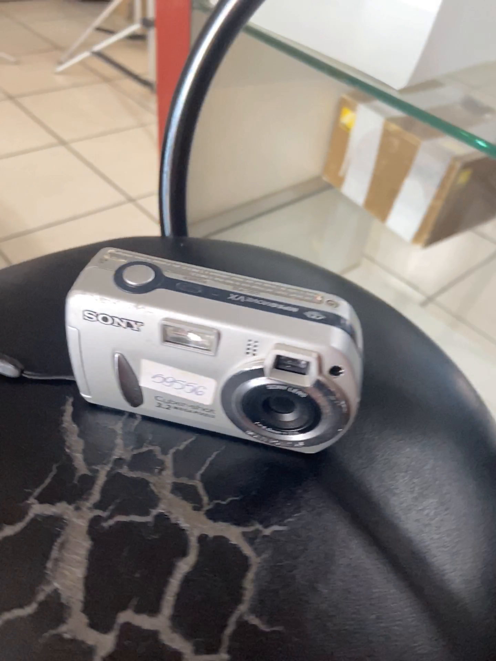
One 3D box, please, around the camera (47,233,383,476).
[{"bbox_3d":[-0.010,0.008,0.183,0.100,0.050,0.040,14,44,5],"label":"camera"}]
